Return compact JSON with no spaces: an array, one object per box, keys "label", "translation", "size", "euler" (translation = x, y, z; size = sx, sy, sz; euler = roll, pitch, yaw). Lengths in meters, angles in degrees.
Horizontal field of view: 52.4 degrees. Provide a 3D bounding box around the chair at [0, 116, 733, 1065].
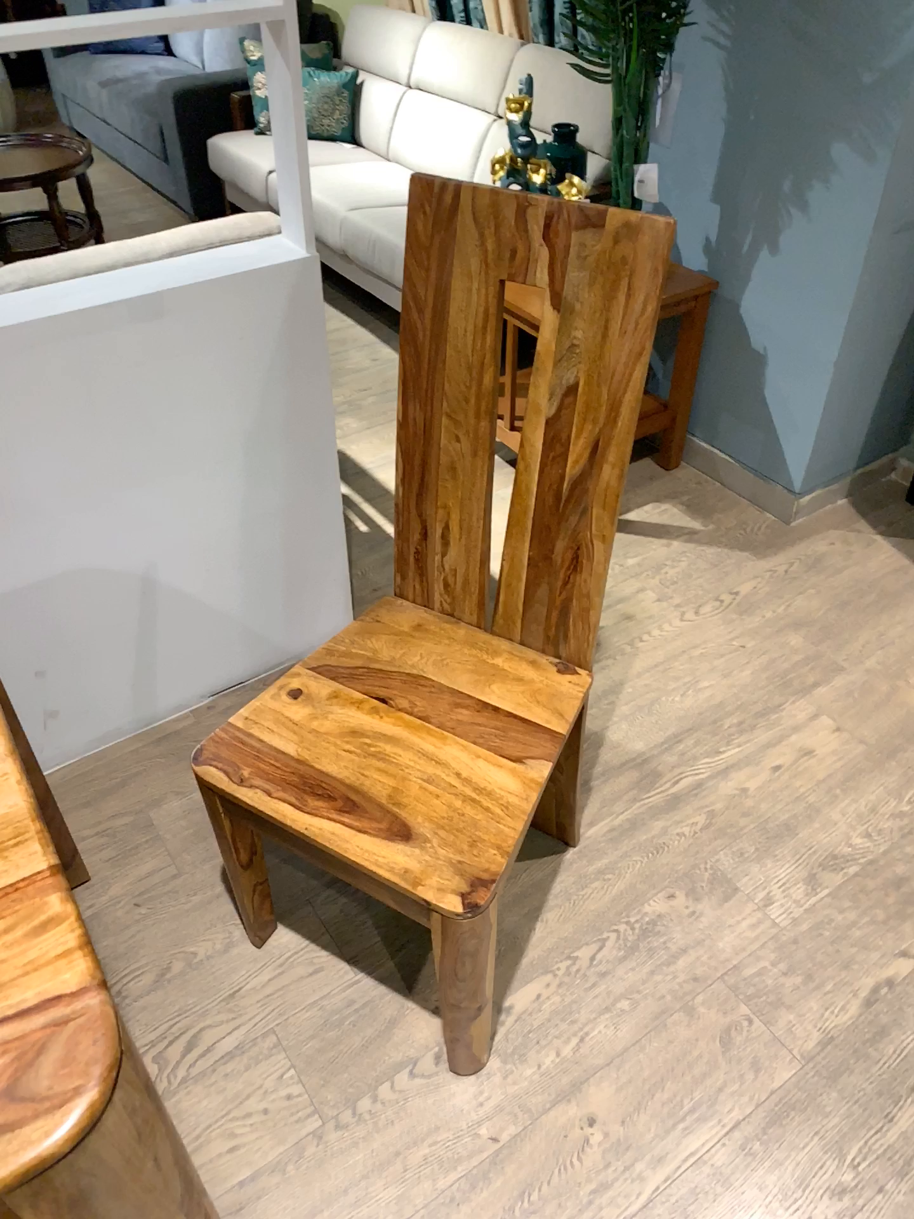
[{"label":"chair","translation":[-0.062,-0.002,1.203],"size":[0.501,0.966,0.602],"euler":[19,46,20]}]
